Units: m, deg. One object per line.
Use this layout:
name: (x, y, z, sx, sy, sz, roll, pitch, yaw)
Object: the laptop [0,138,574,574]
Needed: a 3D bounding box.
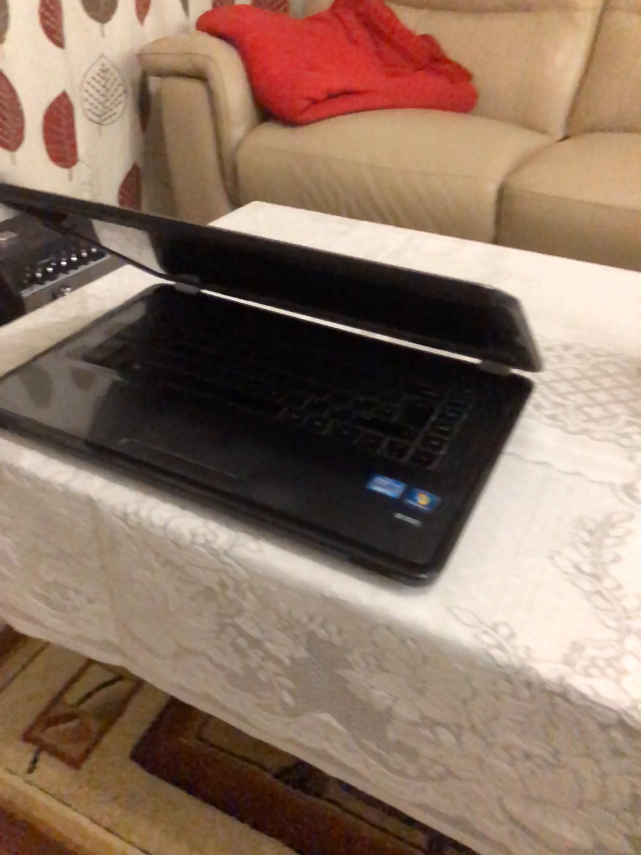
laptop: (-0.040, -0.088, 0.503, 0.360, 0.139, 0.238, 17, 38, 22)
